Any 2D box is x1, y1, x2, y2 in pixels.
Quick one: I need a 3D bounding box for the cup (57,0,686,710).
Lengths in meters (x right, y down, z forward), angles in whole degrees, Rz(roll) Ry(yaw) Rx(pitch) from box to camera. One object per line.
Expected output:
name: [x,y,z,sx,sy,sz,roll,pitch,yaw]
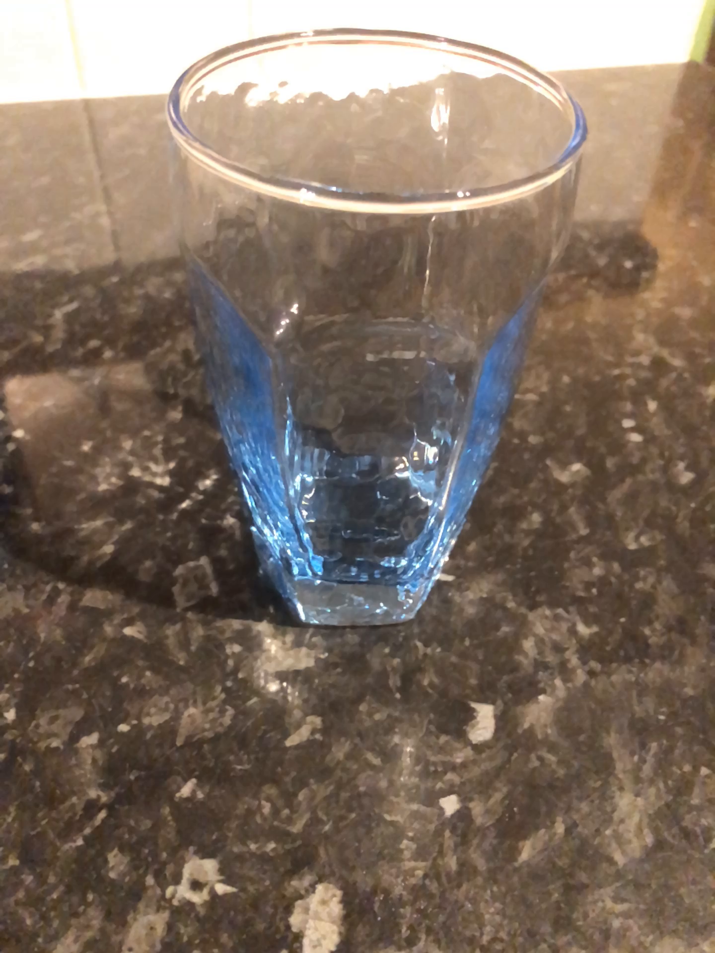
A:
cup: [0.003,-0.027,0.175,0.070,0.119,0.080,31,52,25]
